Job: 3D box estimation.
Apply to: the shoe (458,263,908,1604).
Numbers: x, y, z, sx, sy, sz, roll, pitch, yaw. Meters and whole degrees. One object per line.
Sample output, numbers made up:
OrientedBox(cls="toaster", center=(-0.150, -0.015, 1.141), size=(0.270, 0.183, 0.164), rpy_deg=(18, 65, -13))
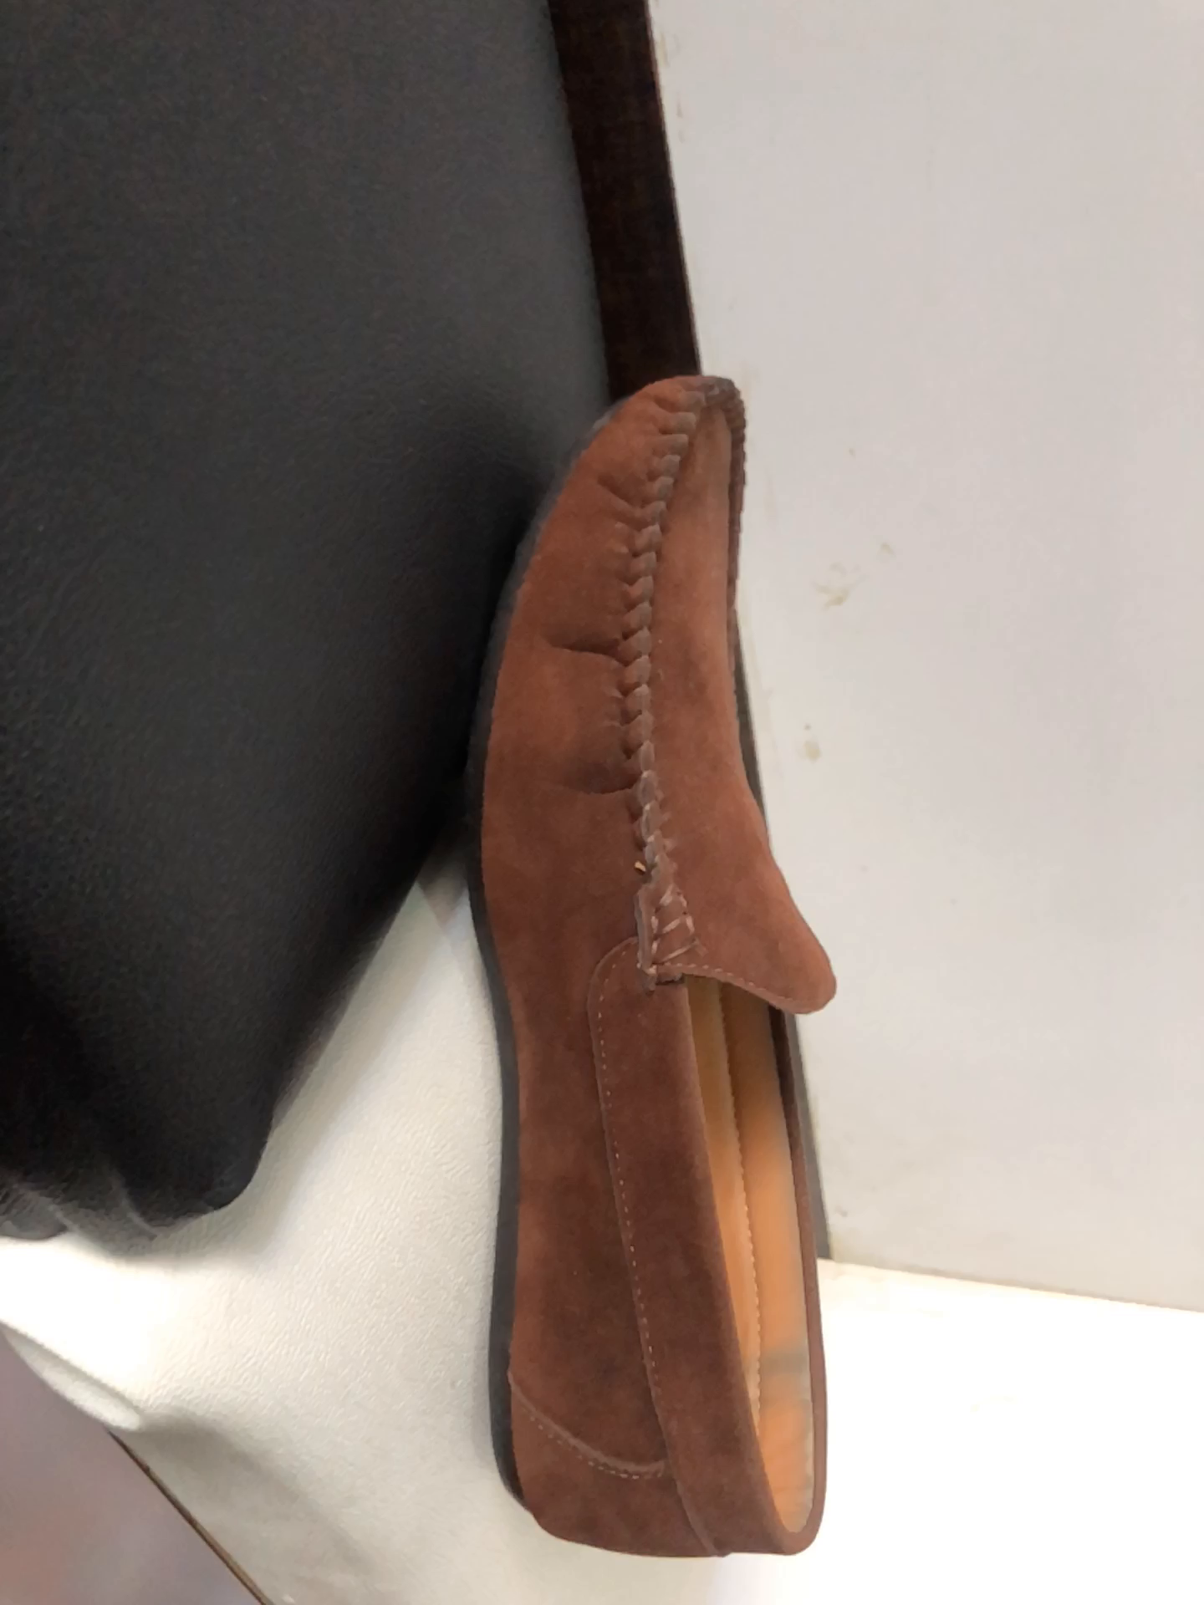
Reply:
OrientedBox(cls="shoe", center=(0.029, 0.031, 0.357), size=(0.141, 0.080, 0.290), rpy_deg=(-11, 103, -71))
